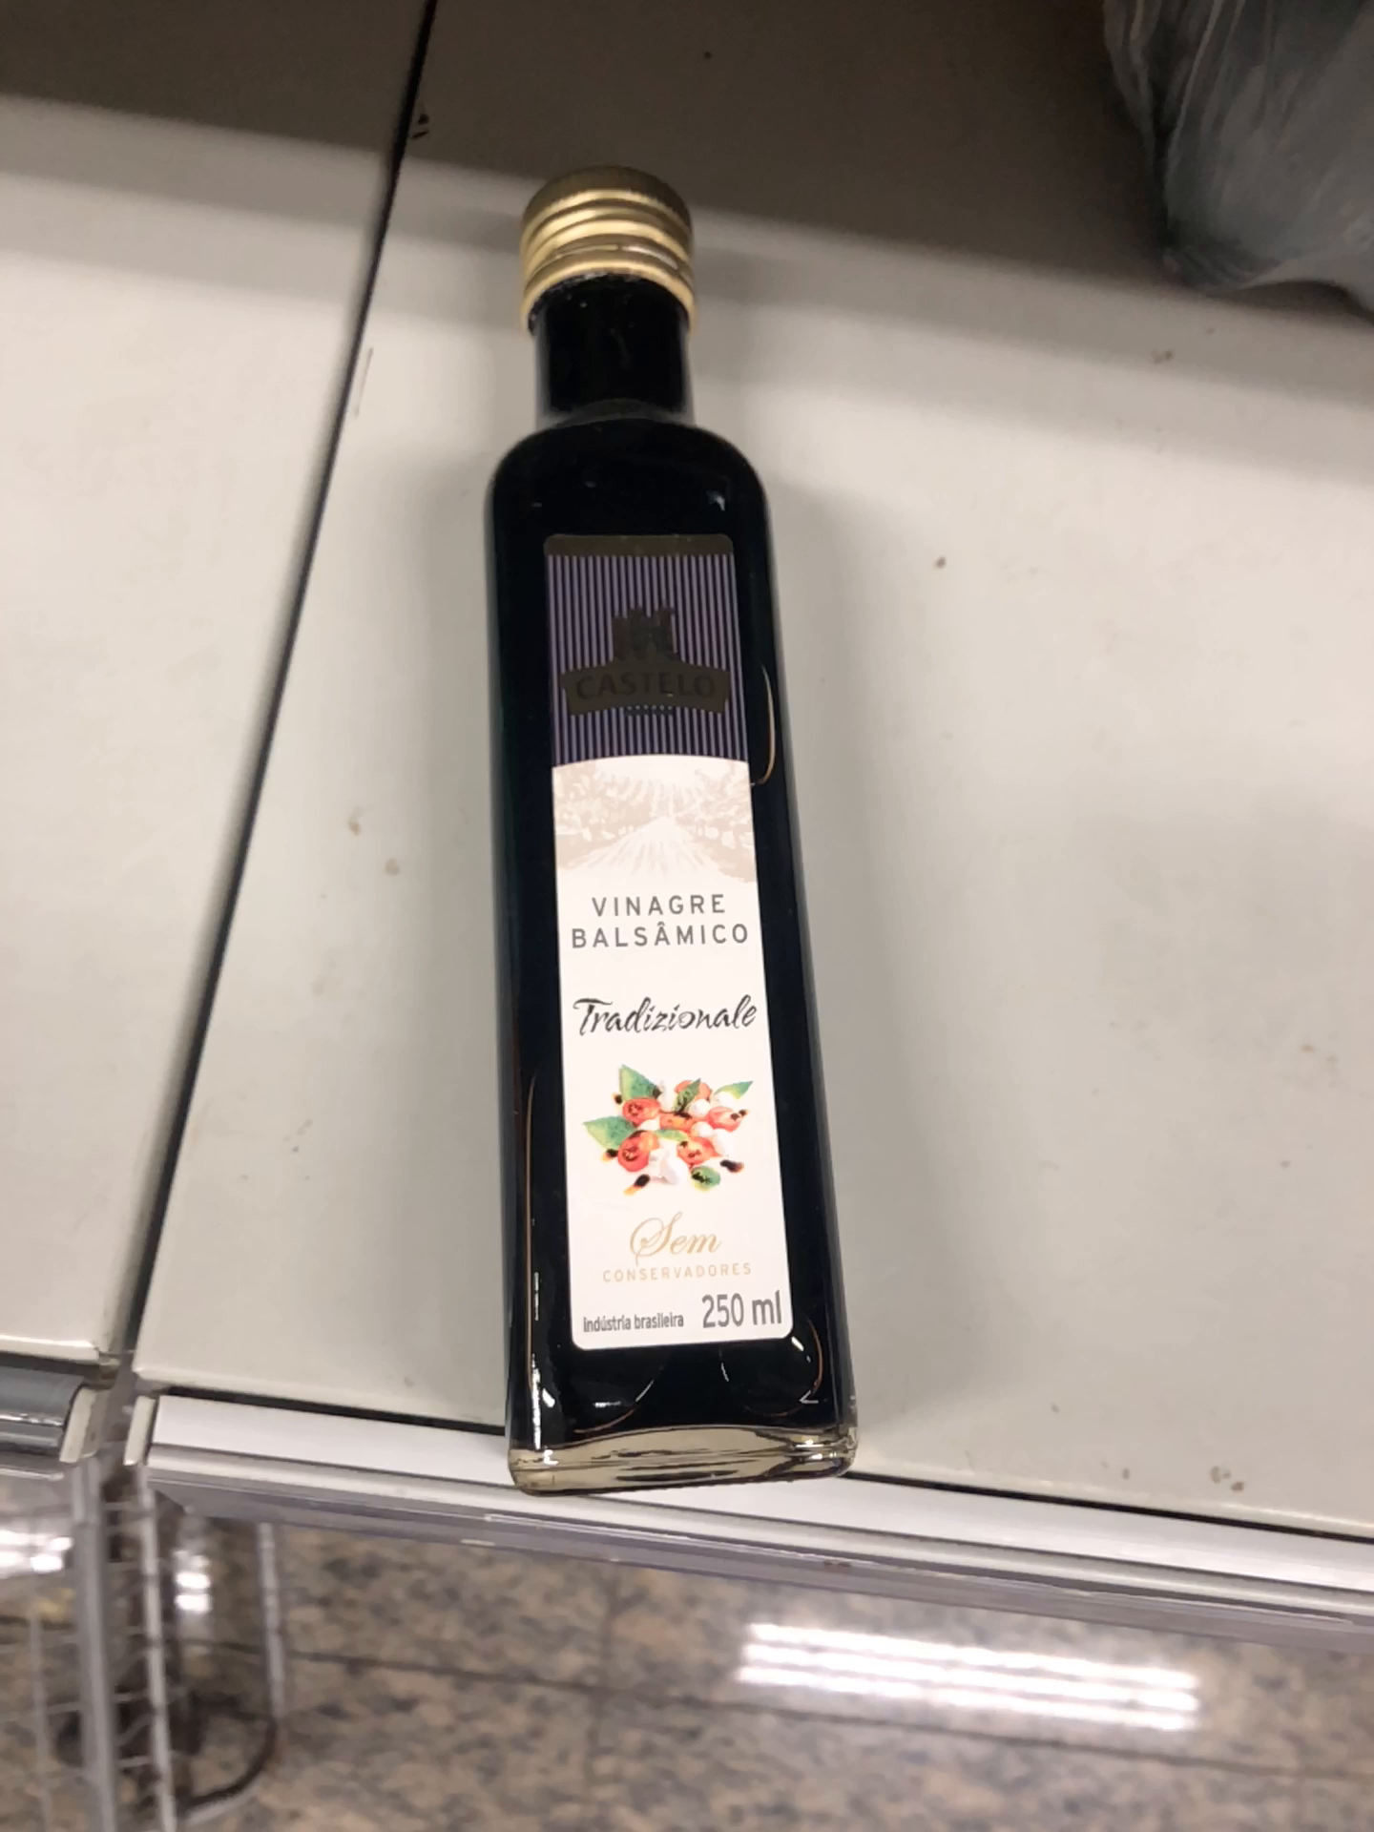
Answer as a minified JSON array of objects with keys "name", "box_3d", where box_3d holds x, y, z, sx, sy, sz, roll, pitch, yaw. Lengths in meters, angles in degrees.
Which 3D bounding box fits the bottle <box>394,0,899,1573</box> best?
[{"name":"bottle","box_3d":[-0.014,-0.033,0.255,0.060,0.060,0.250,-2,75,-7]}]
